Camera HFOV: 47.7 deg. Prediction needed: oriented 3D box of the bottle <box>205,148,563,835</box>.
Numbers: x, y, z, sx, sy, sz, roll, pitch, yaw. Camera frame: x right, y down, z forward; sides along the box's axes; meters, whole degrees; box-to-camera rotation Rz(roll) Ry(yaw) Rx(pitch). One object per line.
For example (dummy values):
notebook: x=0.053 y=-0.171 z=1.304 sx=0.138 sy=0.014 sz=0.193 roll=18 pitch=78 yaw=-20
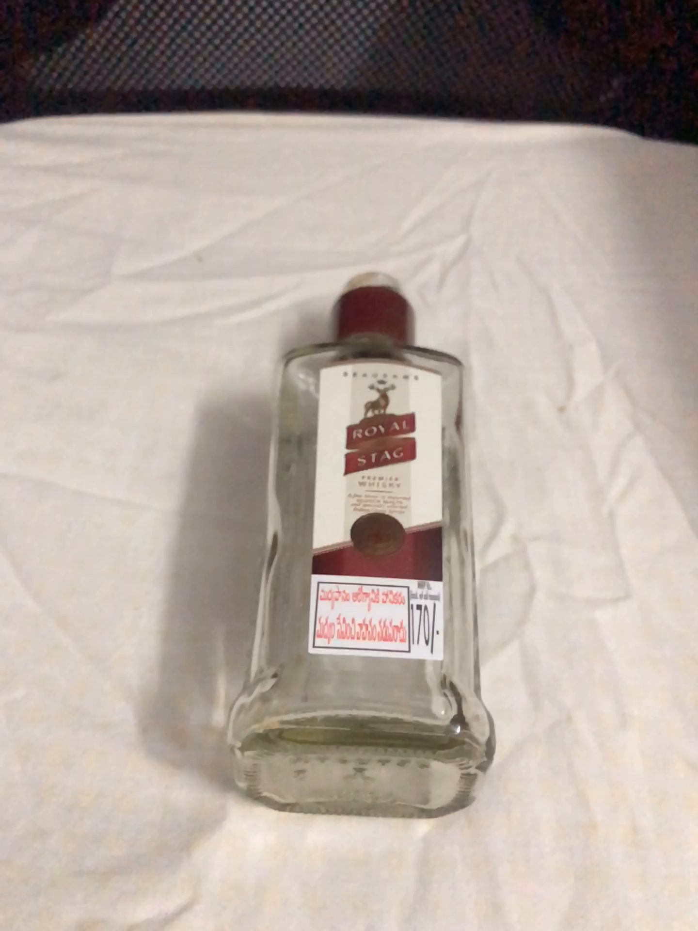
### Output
bottle: x=0.008 y=-0.008 z=0.206 sx=0.060 sy=0.050 sz=0.181 roll=4 pitch=52 yaw=-1
